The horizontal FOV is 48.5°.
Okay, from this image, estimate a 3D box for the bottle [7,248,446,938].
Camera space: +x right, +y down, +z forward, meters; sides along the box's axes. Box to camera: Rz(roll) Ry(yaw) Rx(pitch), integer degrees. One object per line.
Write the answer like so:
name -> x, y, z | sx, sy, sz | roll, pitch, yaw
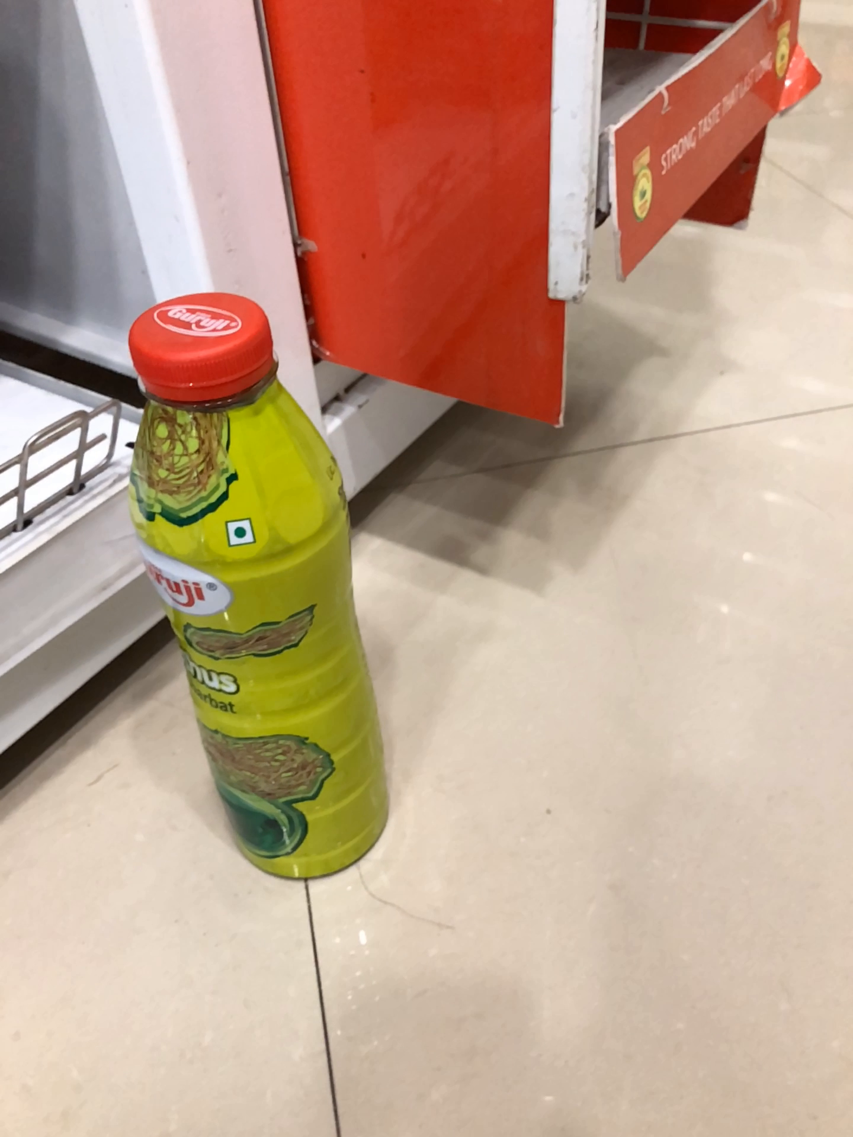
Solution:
bottle -> -0.055, 0.022, 0.346 | 0.080, 0.238, 0.080 | -3, 41, 2
